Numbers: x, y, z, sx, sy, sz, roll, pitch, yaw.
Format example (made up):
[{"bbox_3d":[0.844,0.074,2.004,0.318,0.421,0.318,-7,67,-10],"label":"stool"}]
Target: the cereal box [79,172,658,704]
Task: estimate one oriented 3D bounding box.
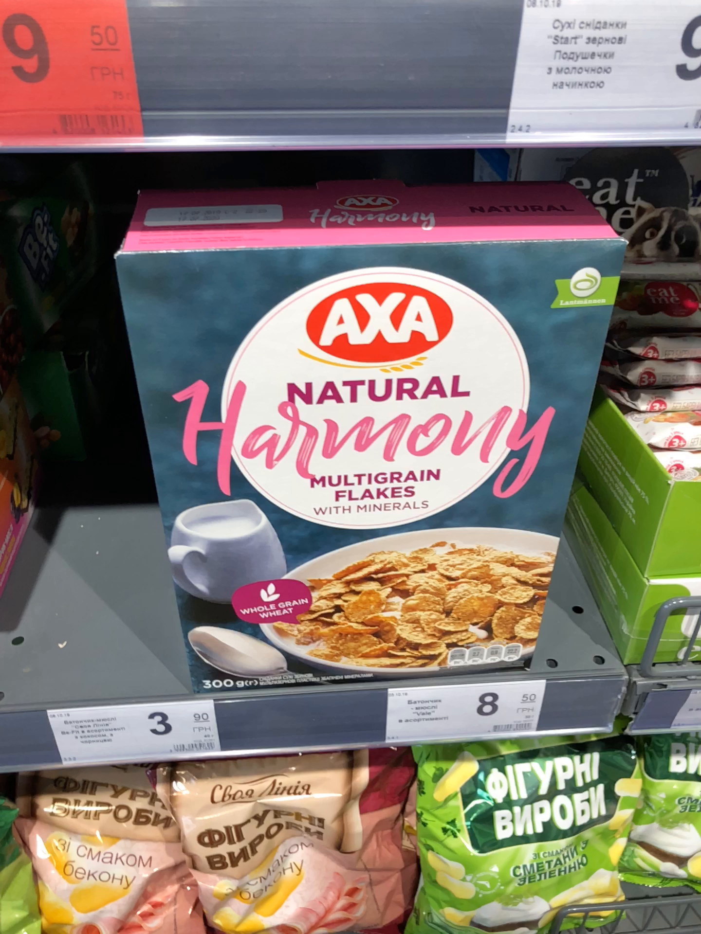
[{"bbox_3d":[0.005,-0.002,0.334,0.180,0.218,0.071,-3,37,-4],"label":"cereal box"}]
